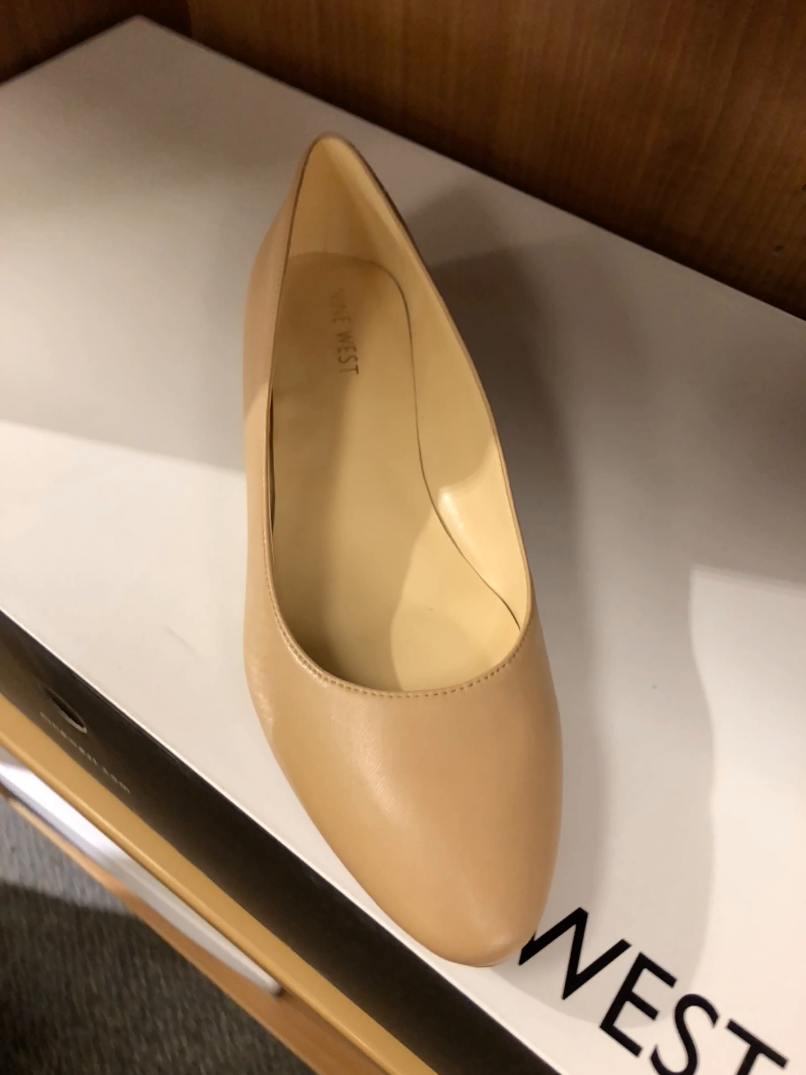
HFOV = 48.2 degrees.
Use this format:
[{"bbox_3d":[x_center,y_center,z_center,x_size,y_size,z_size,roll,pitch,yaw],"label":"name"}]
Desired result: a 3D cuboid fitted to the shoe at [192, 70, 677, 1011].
[{"bbox_3d":[-0.010,-0.021,0.264,0.081,0.070,0.271,-6,60,-6],"label":"shoe"}]
